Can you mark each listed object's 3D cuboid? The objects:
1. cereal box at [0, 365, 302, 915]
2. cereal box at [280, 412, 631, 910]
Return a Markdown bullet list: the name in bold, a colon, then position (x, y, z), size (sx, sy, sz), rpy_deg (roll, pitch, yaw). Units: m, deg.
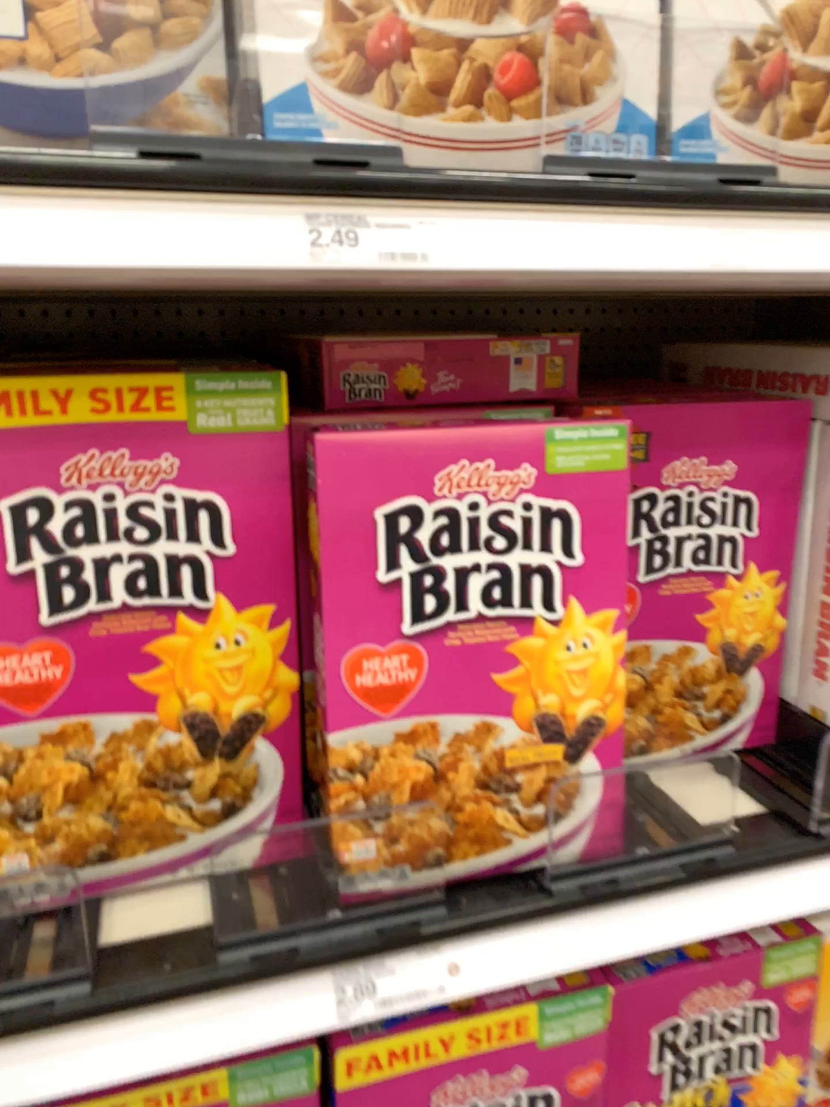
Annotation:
- **cereal box**: position (-0.189, 0.044, 0.505), size (0.220, 0.299, 0.060), rpy_deg (-5, 14, -16)
- **cereal box**: position (0.028, 0.059, 0.520), size (0.200, 0.279, 0.050), rpy_deg (-5, 11, -16)
